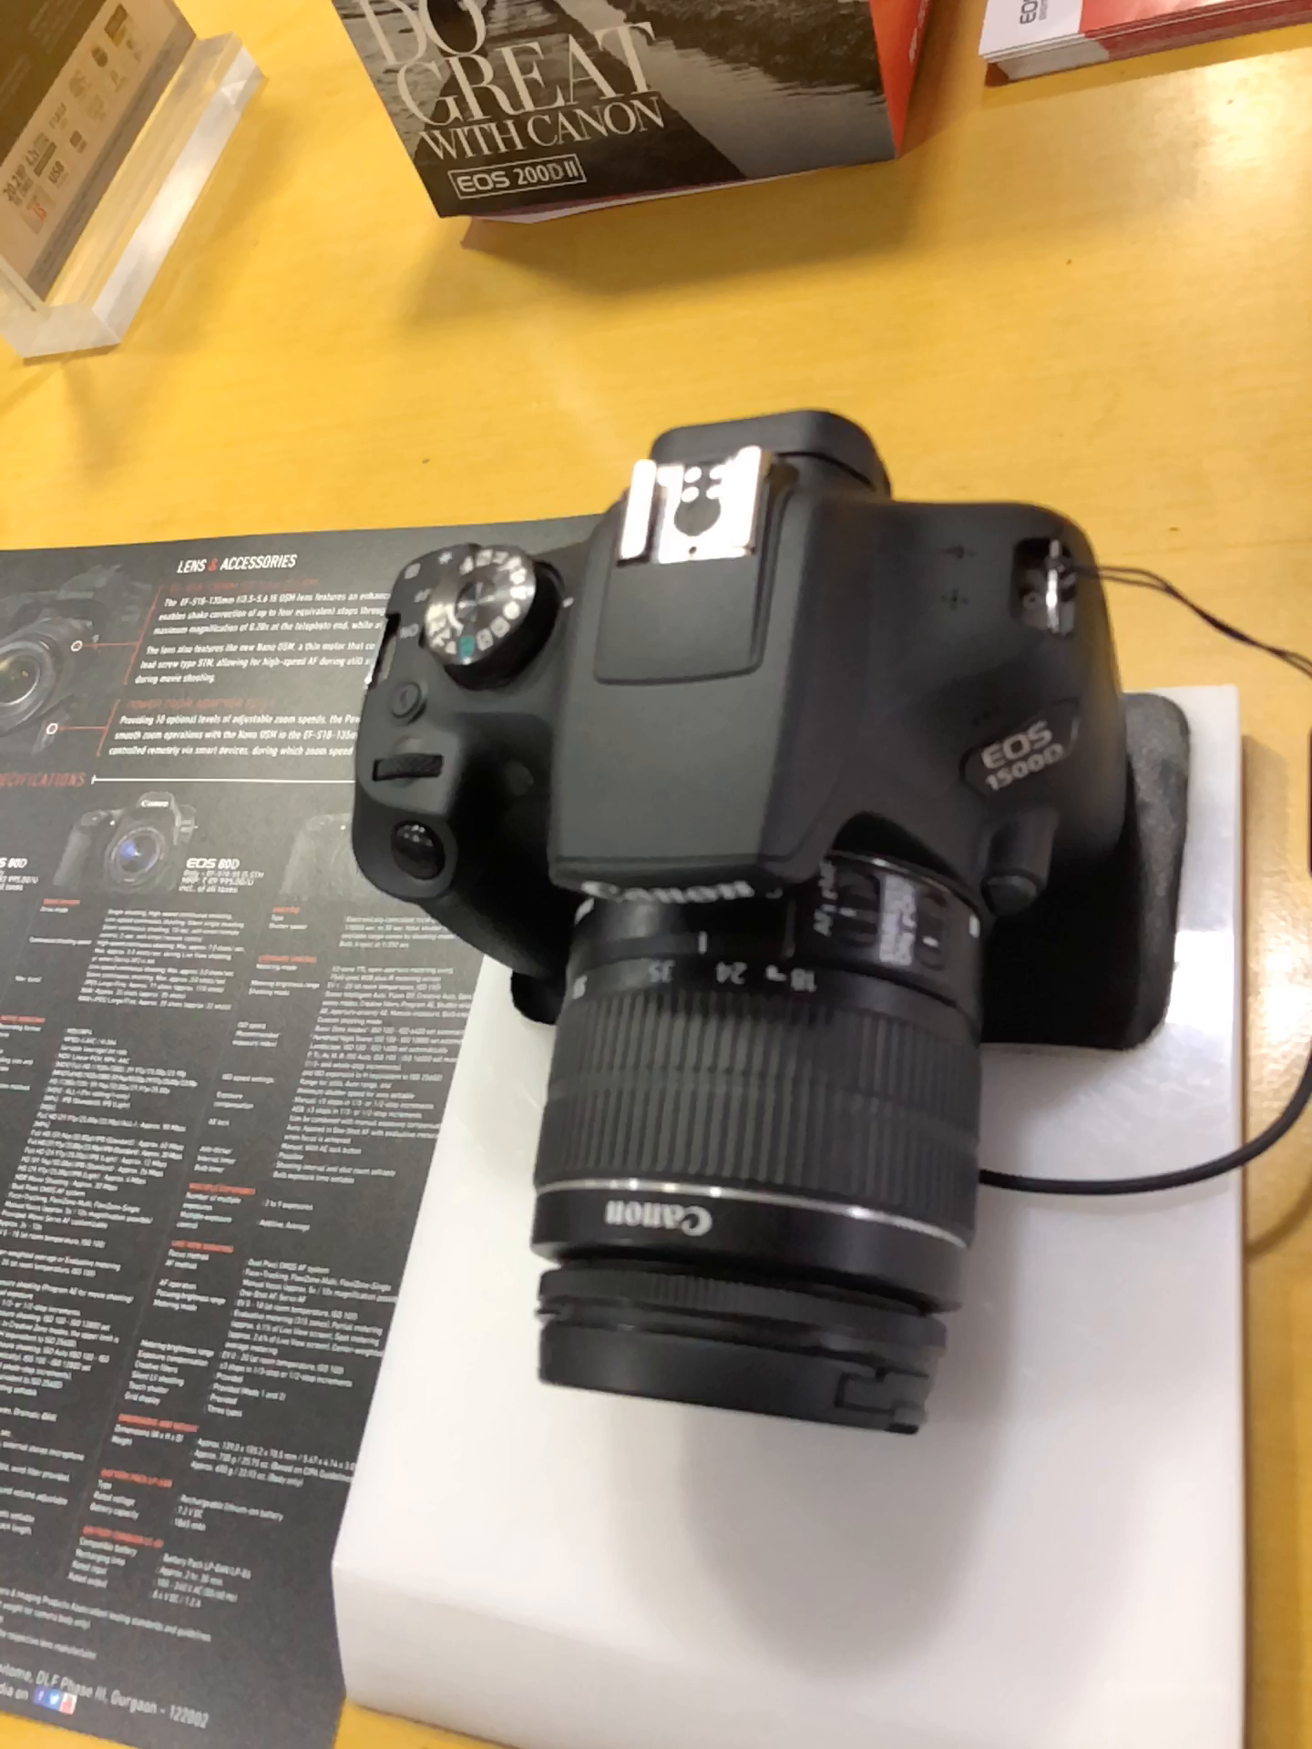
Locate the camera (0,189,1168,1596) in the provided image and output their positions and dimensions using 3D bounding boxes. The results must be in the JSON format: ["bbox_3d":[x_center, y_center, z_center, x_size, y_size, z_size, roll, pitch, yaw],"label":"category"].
[{"bbox_3d":[-0.008,0.005,0.199,0.140,0.090,0.140,-1,60,24],"label":"camera"}]
